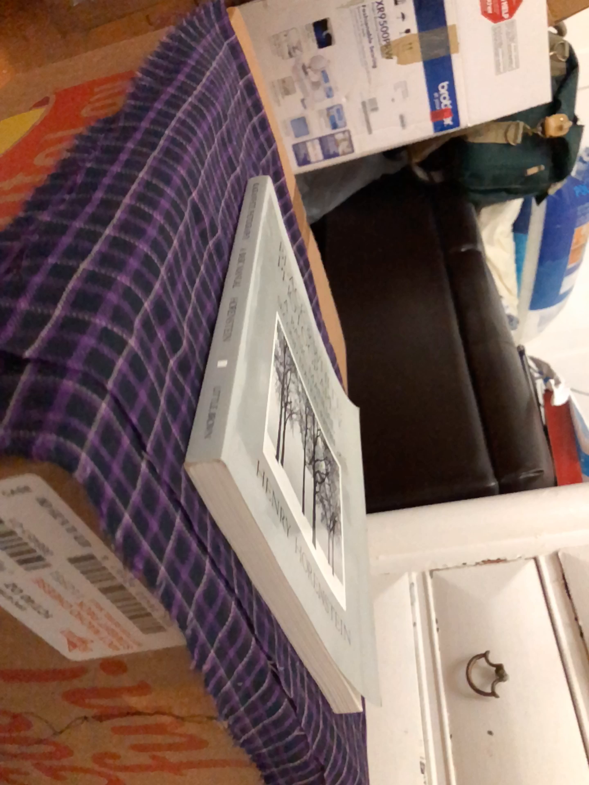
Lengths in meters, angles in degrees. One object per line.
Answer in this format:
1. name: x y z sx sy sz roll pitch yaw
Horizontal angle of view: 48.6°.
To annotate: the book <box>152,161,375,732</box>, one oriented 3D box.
1. book: 0.003 0.020 0.374 0.251 0.030 0.210 -86 160 -49
